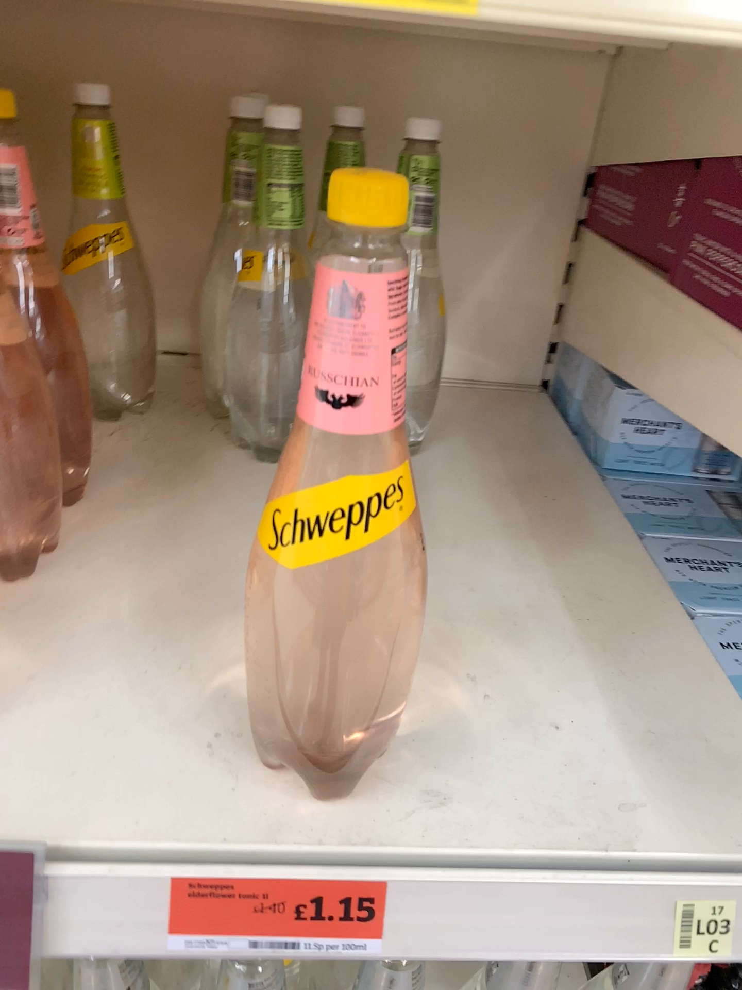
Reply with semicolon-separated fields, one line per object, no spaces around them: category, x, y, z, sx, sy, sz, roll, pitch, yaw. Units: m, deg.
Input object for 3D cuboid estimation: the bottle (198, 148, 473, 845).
bottle;-0.021;0.015;0.343;0.085;0.299;0.090;5;29;-3
